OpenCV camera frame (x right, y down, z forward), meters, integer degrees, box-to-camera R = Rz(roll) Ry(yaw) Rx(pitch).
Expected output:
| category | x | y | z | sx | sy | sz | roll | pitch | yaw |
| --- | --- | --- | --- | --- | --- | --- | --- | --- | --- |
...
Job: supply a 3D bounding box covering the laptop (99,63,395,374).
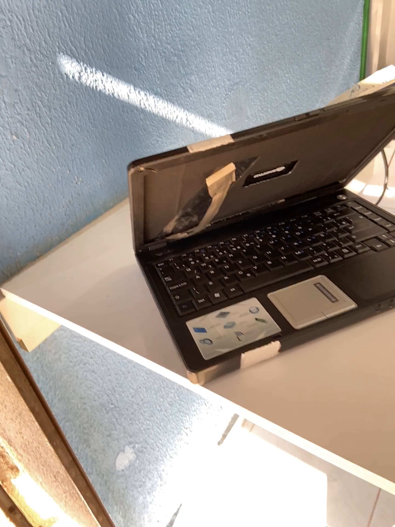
| category | x | y | z | sx | sy | sz | roll | pitch | yaw |
| --- | --- | --- | --- | --- | --- | --- | --- | --- | --- |
| laptop | 0.094 | -0.079 | 0.440 | 0.328 | 0.175 | 0.225 | -18 | 35 | -13 |
